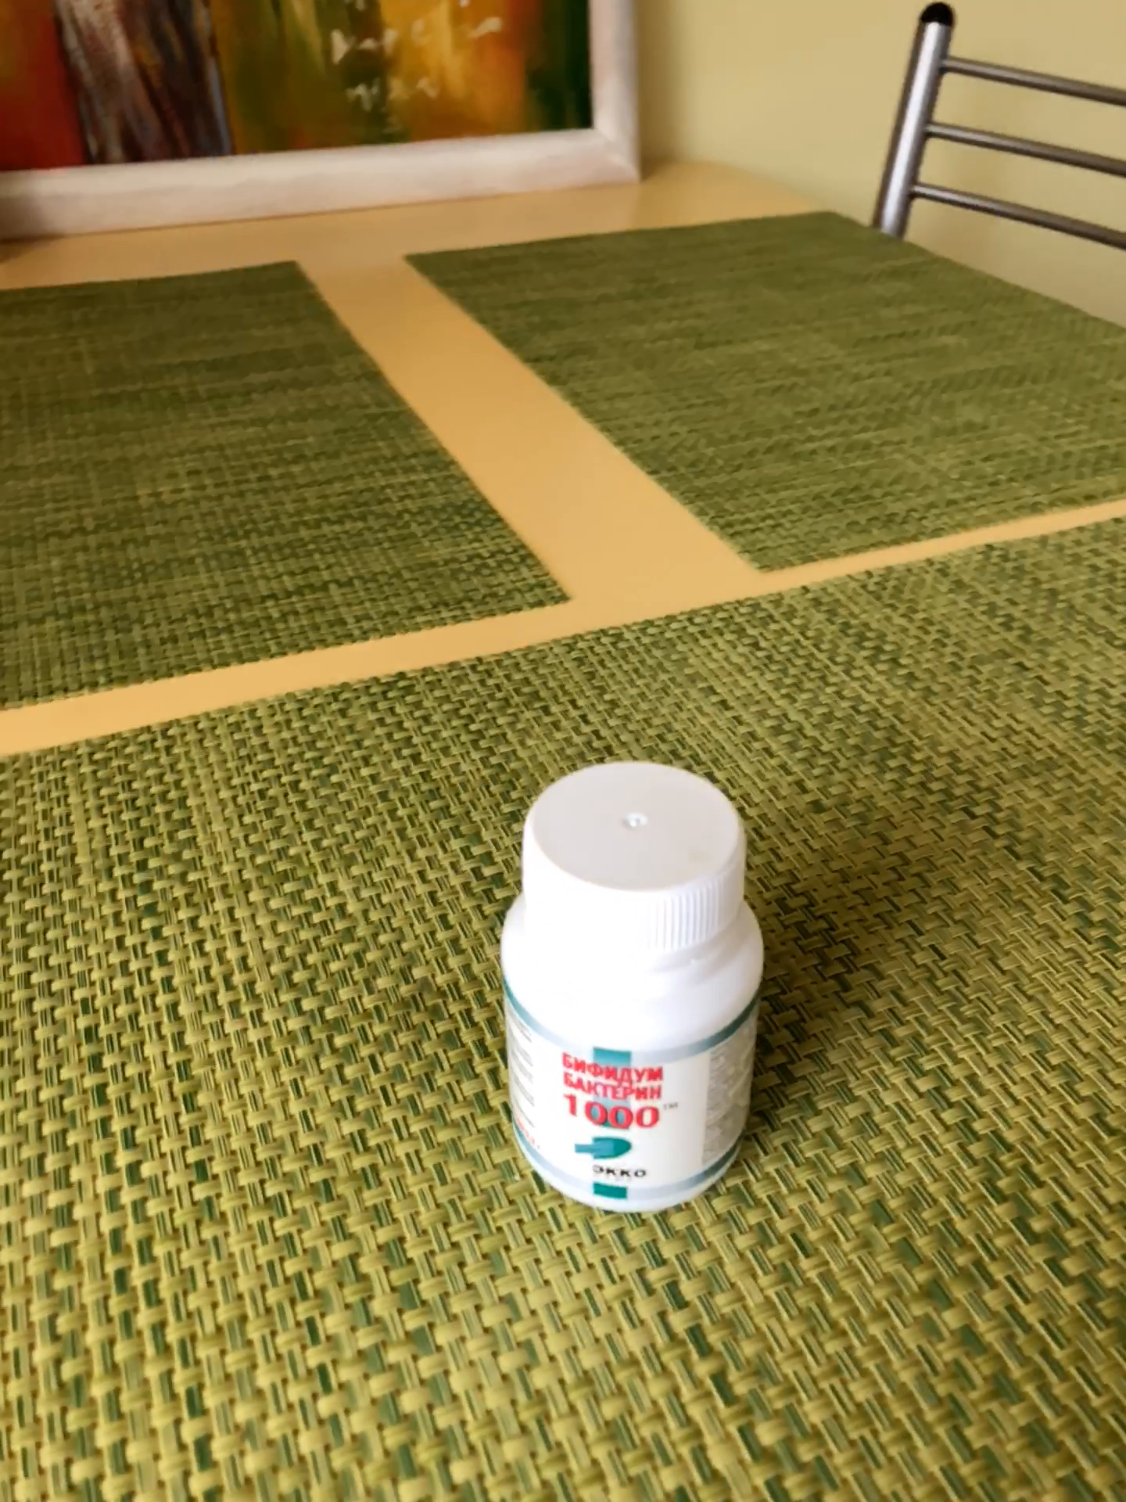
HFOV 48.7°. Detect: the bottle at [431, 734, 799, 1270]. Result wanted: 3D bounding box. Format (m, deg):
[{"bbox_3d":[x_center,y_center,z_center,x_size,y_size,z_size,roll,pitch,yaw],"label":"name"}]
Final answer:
[{"bbox_3d":[0.011,0.043,0.218,0.050,0.069,0.050,0,35,0],"label":"bottle"}]
